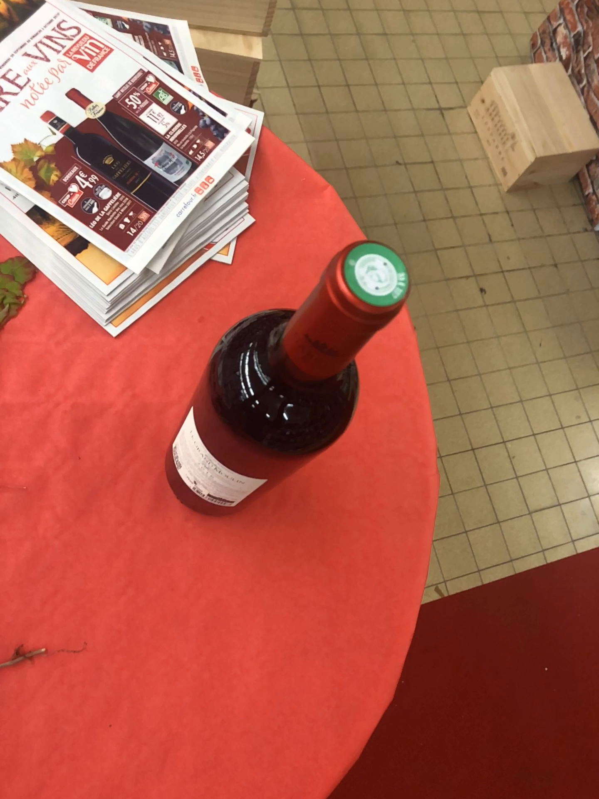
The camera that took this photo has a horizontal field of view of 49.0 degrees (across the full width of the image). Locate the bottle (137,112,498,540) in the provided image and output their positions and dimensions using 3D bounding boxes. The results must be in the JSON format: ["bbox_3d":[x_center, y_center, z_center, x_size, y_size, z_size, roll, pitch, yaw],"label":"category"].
[{"bbox_3d":[-0.024,0.000,0.349,0.080,0.299,0.080,5,71,-14],"label":"bottle"}]
